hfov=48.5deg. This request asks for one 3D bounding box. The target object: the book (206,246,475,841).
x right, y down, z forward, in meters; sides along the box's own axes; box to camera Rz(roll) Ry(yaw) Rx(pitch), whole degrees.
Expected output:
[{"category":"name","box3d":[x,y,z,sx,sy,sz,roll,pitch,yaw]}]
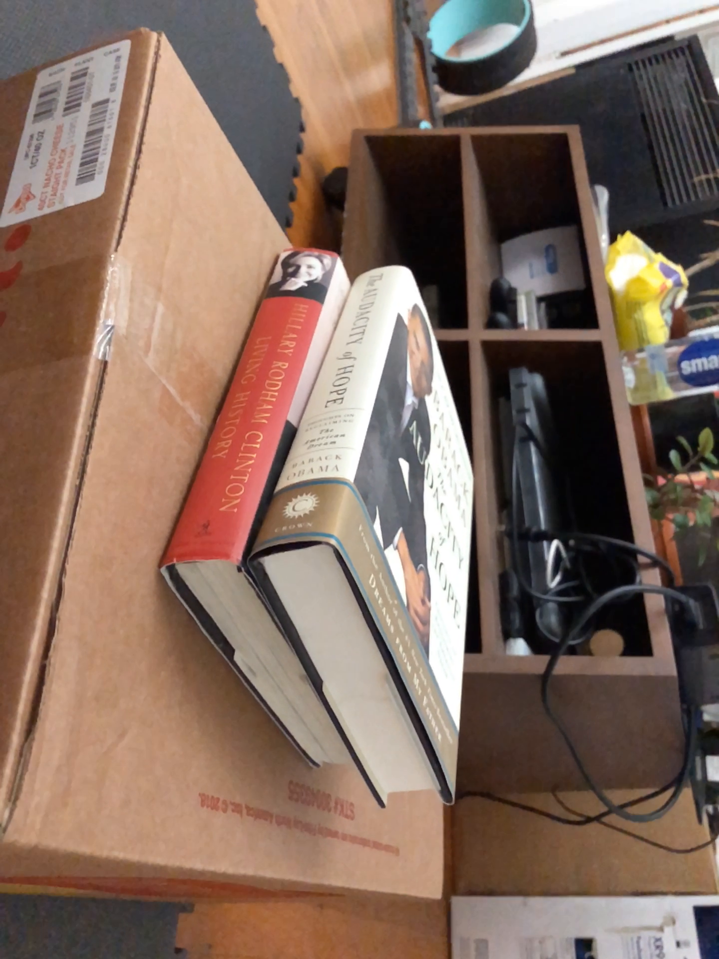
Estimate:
[{"category":"book","box3d":[0.014,0.019,0.420,0.251,0.040,0.190,-76,151,-51]}]

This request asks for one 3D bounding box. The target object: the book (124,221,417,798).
[{"category":"book","box3d":[-0.021,0.005,0.417,0.251,0.040,0.170,-80,154,-46]}]
